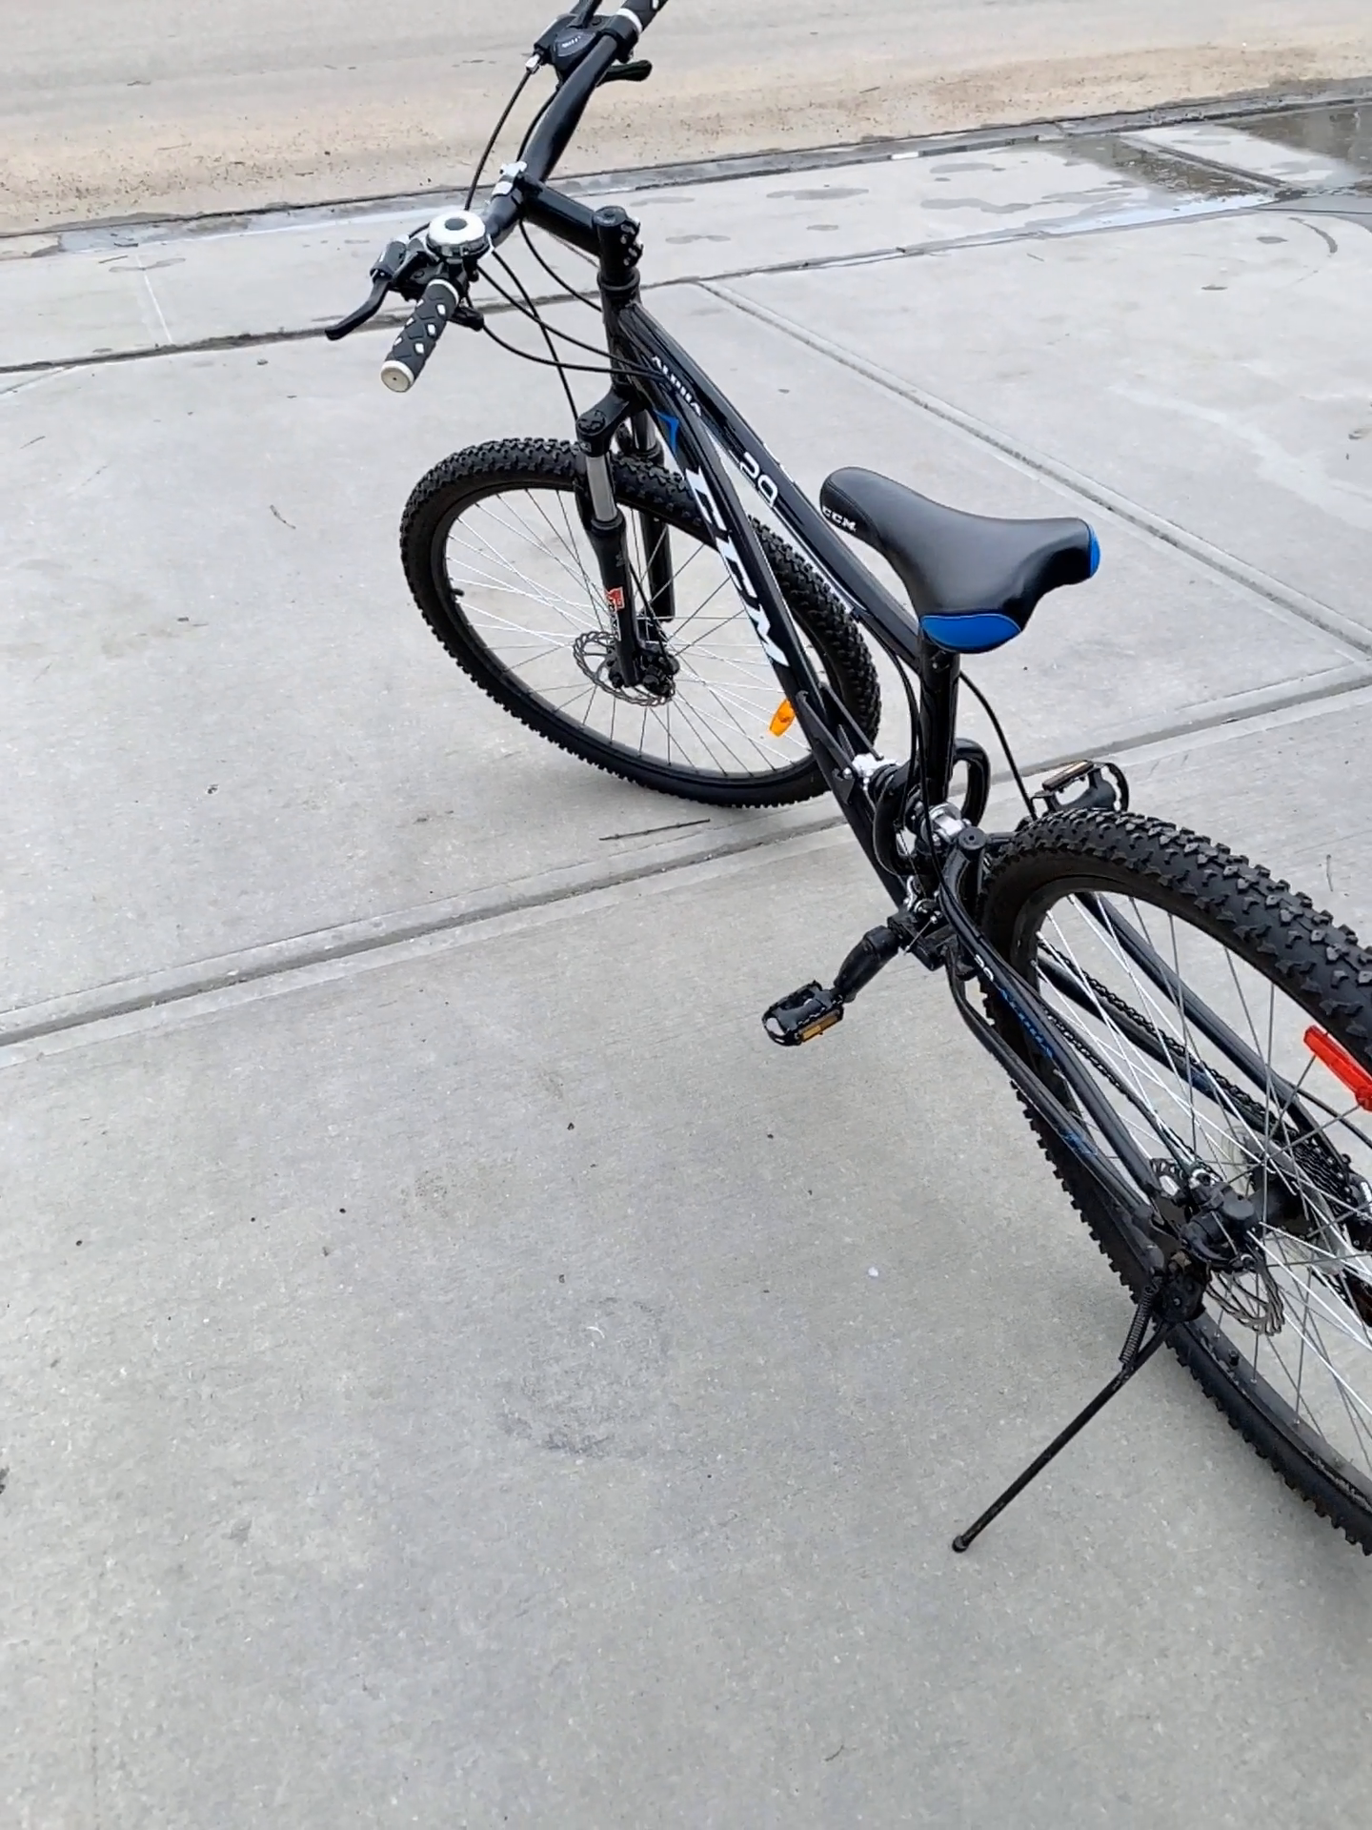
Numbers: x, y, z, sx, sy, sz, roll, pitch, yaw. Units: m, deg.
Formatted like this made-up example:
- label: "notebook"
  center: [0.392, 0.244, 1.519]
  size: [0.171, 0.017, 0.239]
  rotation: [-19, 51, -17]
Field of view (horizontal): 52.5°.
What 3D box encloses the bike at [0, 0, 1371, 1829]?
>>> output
- label: "bike"
  center: [0.057, -0.127, 1.313]
  size: [0.628, 1.173, 1.795]
  rotation: [-25, 46, -25]
